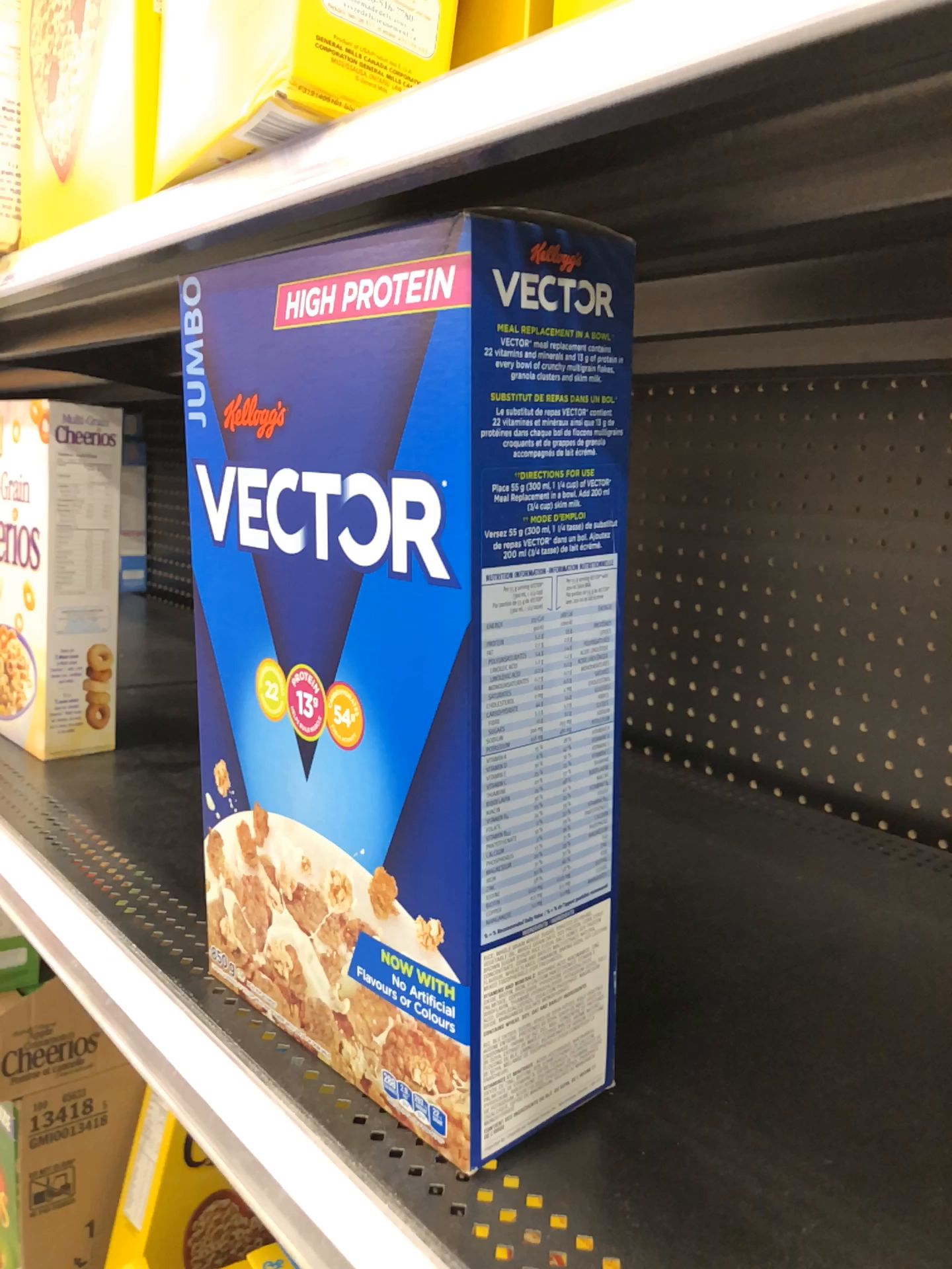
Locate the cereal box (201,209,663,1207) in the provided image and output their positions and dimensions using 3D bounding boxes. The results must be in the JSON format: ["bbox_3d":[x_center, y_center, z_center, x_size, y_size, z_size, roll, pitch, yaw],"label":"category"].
[{"bbox_3d":[-0.030,0.020,0.458,0.080,0.349,0.200,-8,13,-41],"label":"cereal box"}]
